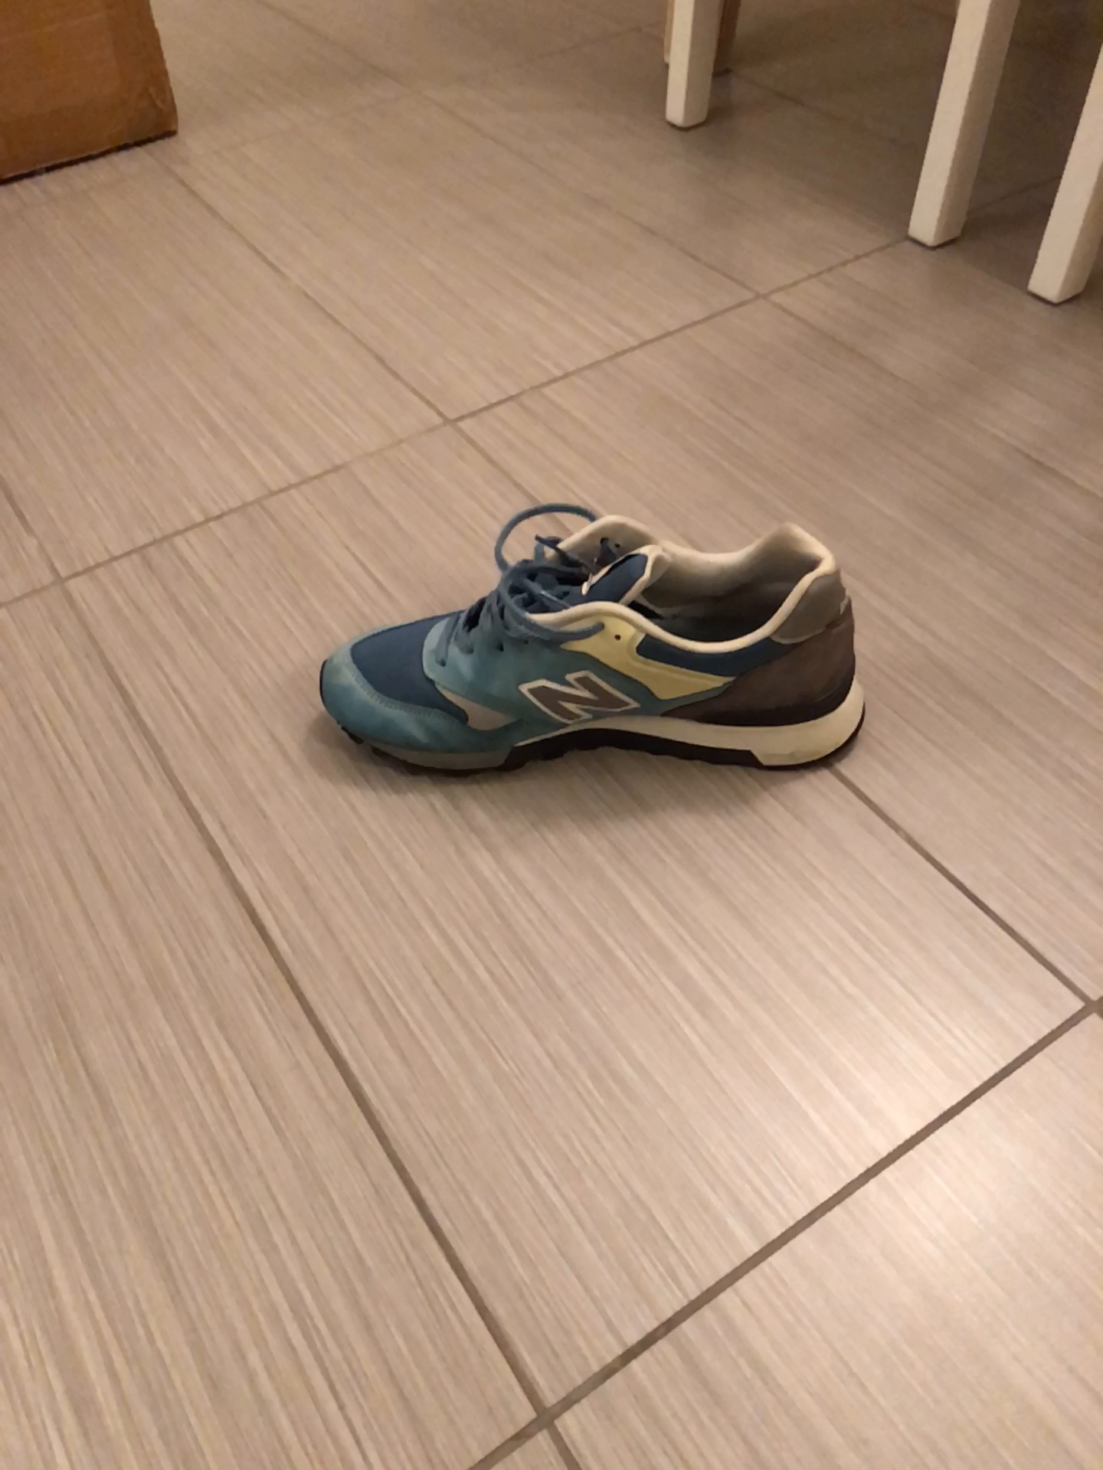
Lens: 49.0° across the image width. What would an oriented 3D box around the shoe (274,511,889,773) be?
[{"bbox_3d":[0.018,-0.053,0.660,0.300,0.070,0.131,0,47,5],"label":"shoe"}]
